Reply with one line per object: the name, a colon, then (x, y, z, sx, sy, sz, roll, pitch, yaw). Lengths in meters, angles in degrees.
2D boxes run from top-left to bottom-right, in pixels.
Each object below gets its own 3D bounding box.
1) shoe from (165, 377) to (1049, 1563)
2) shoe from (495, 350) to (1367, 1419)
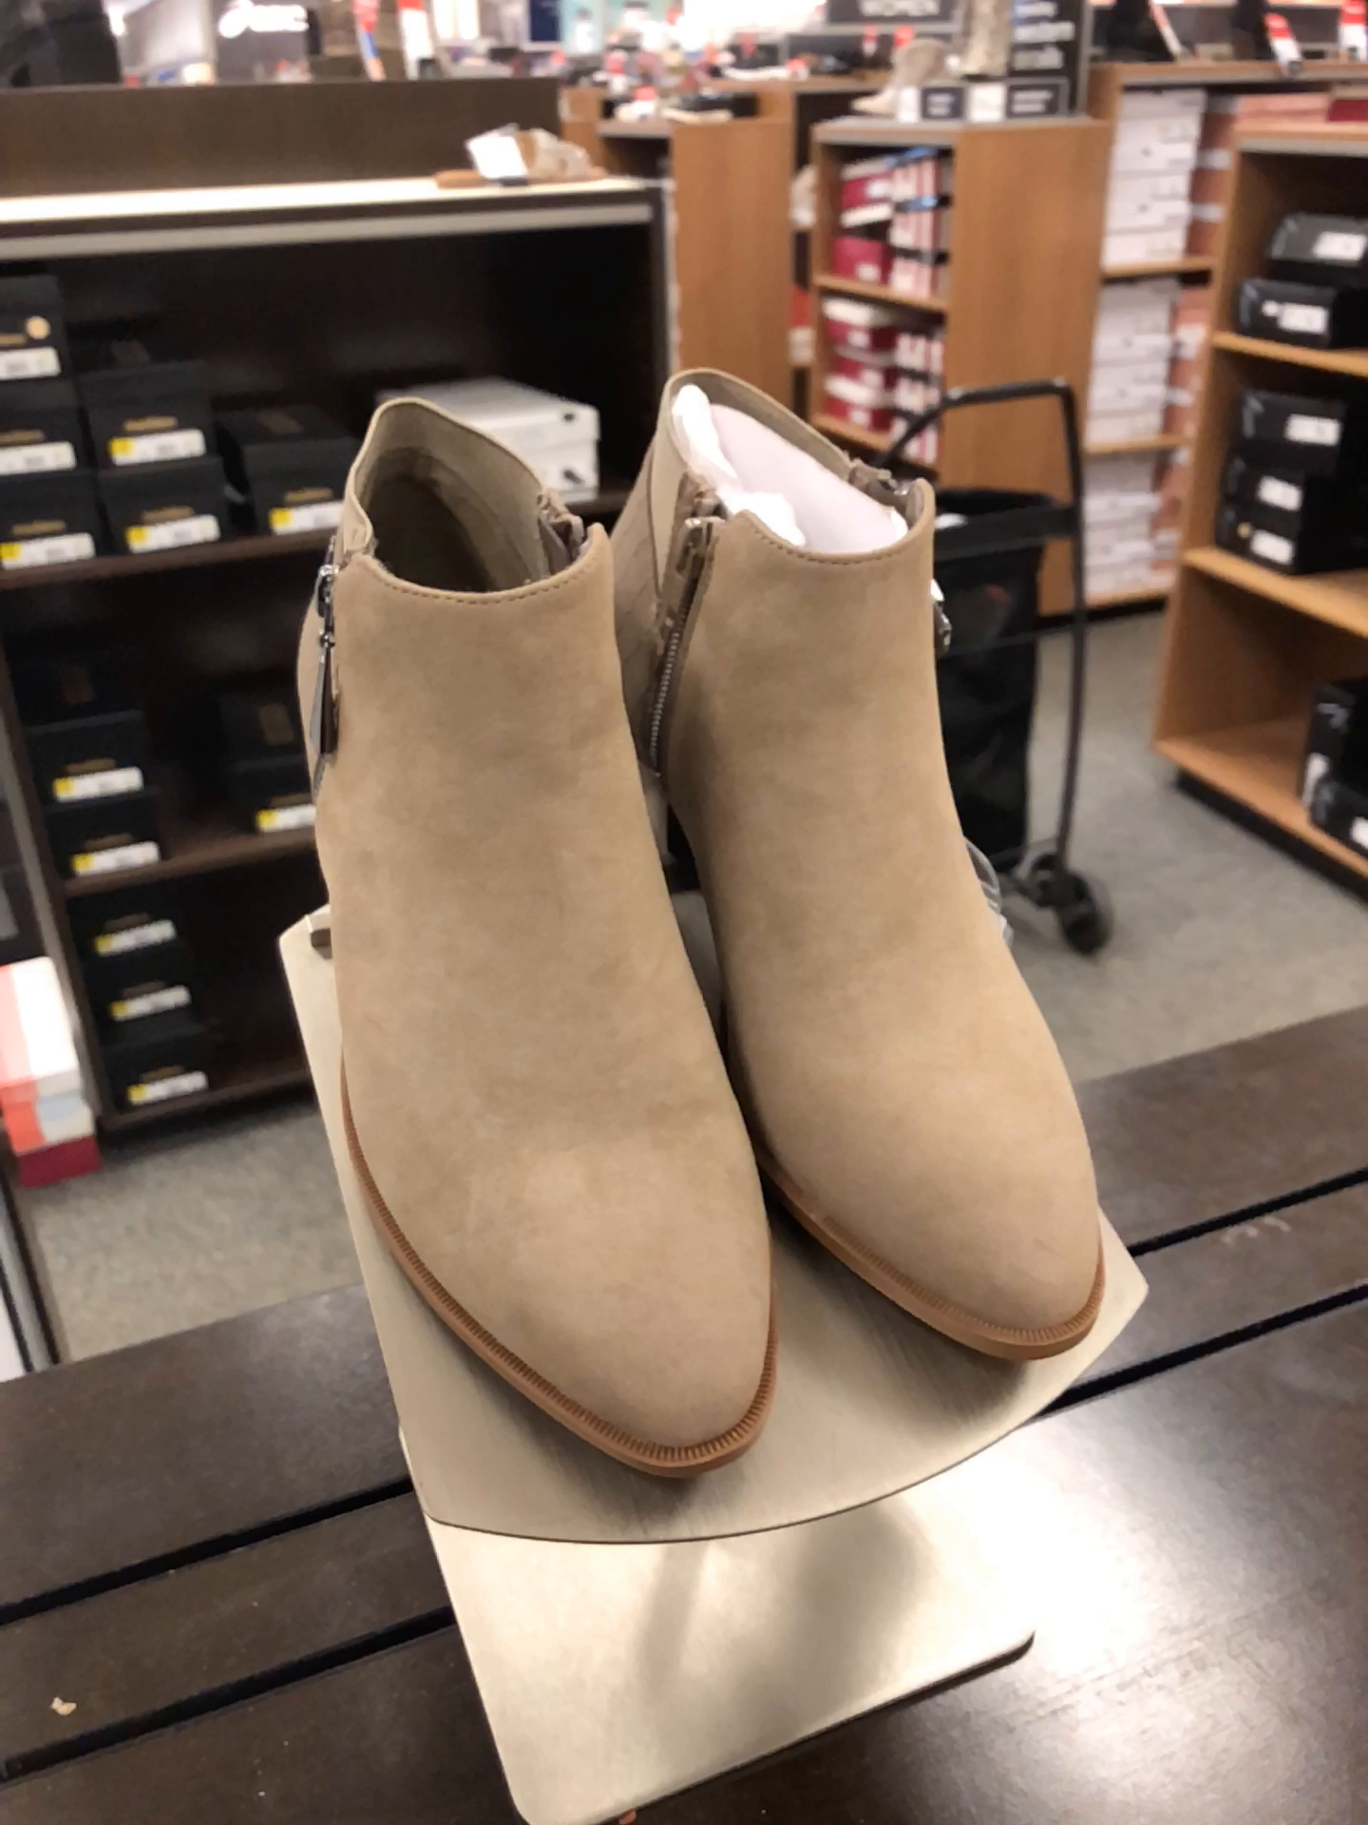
shoe: (-0.037, -0.010, 0.349, 0.094, 0.152, 0.231, -14, 37, -22)
shoe: (0.042, -0.031, 0.378, 0.094, 0.153, 0.241, -14, 35, -22)
